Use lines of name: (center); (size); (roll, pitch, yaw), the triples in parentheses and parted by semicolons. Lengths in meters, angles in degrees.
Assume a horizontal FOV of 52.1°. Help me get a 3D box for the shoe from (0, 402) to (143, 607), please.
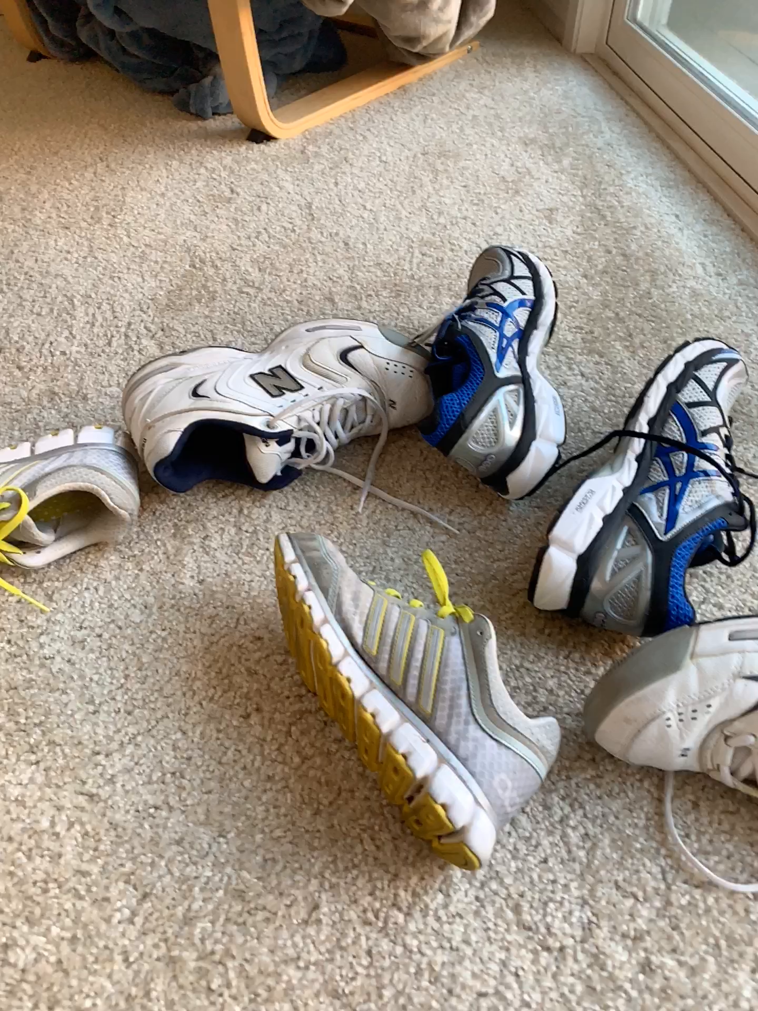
shoe: (-0.306, -0.004, 0.586); (0.230, 0.080, 0.080); (-11, 40, -11)

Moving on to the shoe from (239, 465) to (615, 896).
shoe: (0.014, 0.090, 0.463); (0.100, 0.090, 0.221); (-23, 50, -25)

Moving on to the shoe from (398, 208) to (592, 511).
shoe: (0.100, -0.139, 0.695); (0.120, 0.090, 0.261); (24, 45, -18)

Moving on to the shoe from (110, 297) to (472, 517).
shoe: (-0.074, -0.089, 0.673); (0.280, 0.099, 0.101); (-12, 50, -12)

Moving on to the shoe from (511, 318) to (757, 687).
shoe: (0.217, -0.019, 0.595); (0.120, 0.090, 0.281); (23, 50, 17)

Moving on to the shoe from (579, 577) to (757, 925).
shoe: (0.263, 0.135, 0.441); (0.270, 0.099, 0.100); (10, 47, 9)
